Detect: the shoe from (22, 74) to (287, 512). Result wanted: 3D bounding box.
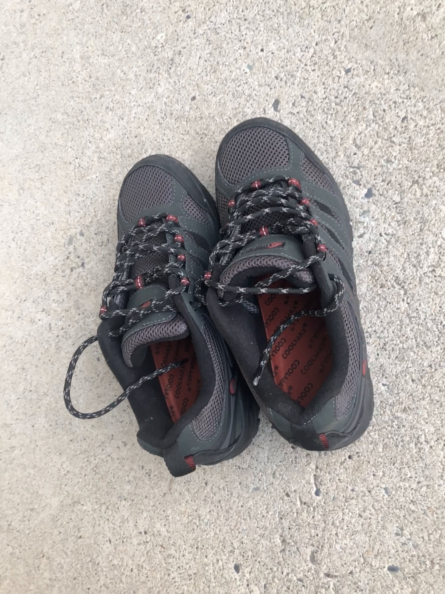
[{"bbox_3d":[-0.059,-0.003,0.410,0.120,0.110,0.303,-20,75,20],"label":"shoe"}]

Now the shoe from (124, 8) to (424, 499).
[{"bbox_3d":[0.037,-0.029,0.367,0.120,0.110,0.300,-20,75,20],"label":"shoe"}]
